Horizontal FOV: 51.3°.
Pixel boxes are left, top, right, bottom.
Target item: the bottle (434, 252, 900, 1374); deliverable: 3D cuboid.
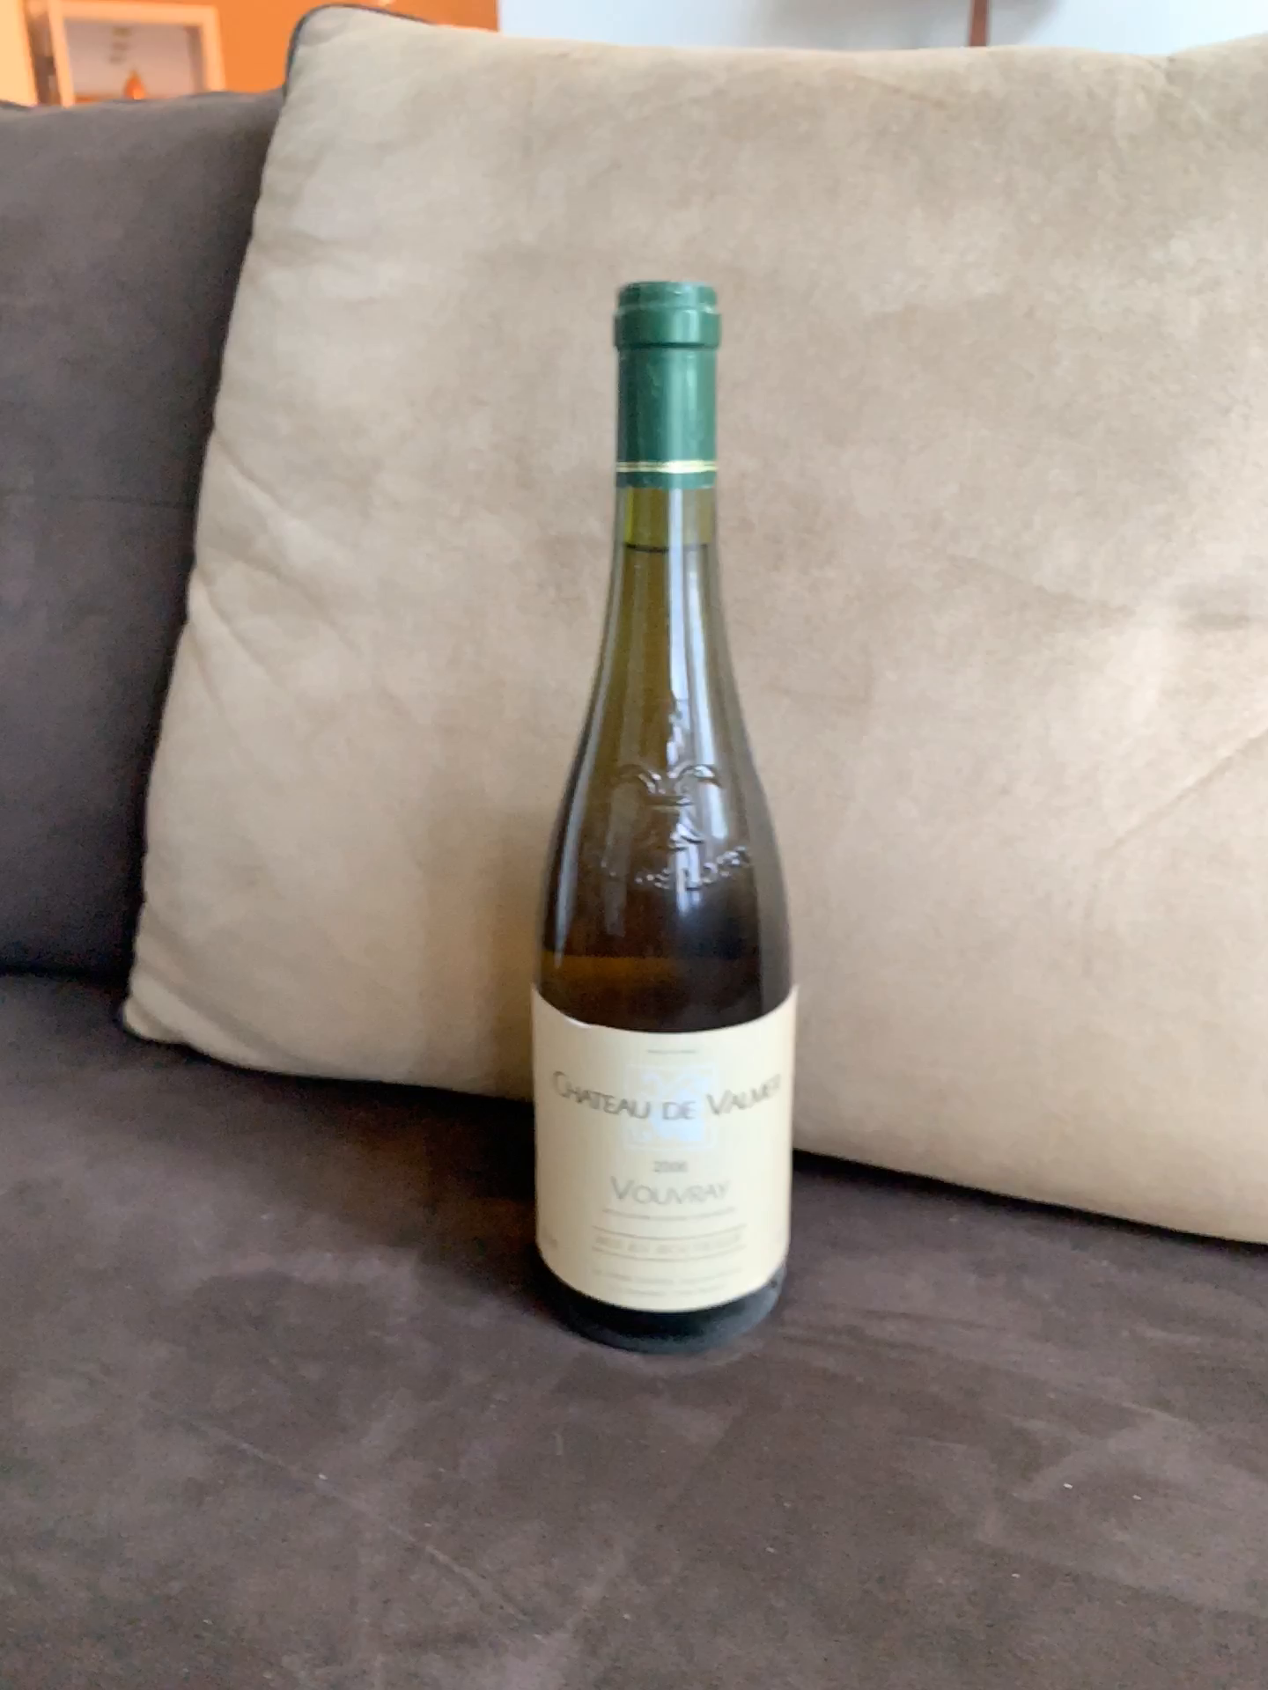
[{"bbox_3d":[0.006,-0.002,0.383,0.100,0.309,0.090,-1,22,-2],"label":"bottle"}]
